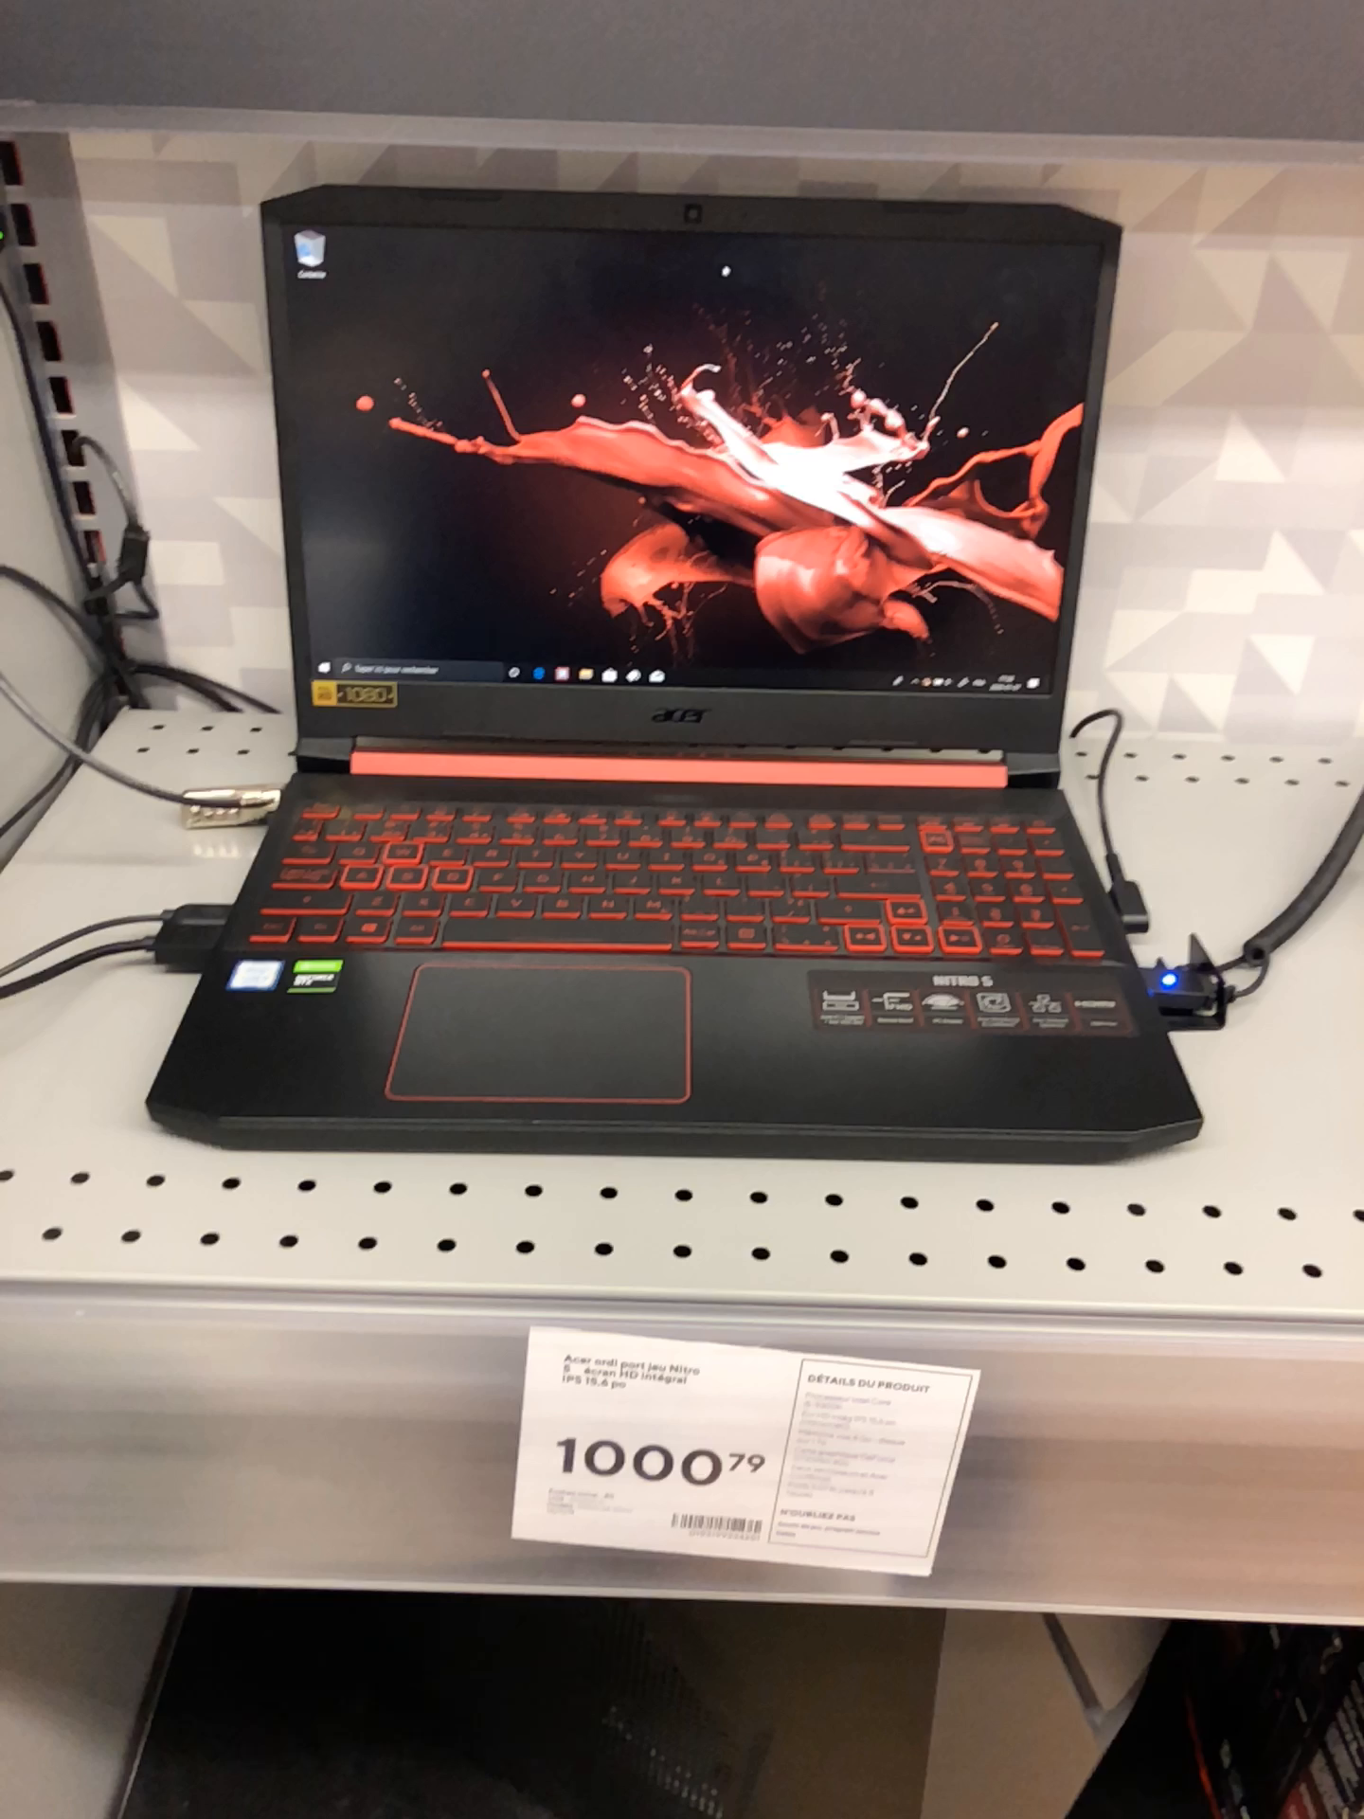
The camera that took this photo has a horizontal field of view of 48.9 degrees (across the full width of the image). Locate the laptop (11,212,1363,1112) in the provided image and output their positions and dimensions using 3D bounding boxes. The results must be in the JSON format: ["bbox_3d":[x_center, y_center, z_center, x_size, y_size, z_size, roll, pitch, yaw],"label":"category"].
[{"bbox_3d":[0.004,-0.108,0.581,0.361,0.241,0.282,1,34,-2],"label":"laptop"}]
